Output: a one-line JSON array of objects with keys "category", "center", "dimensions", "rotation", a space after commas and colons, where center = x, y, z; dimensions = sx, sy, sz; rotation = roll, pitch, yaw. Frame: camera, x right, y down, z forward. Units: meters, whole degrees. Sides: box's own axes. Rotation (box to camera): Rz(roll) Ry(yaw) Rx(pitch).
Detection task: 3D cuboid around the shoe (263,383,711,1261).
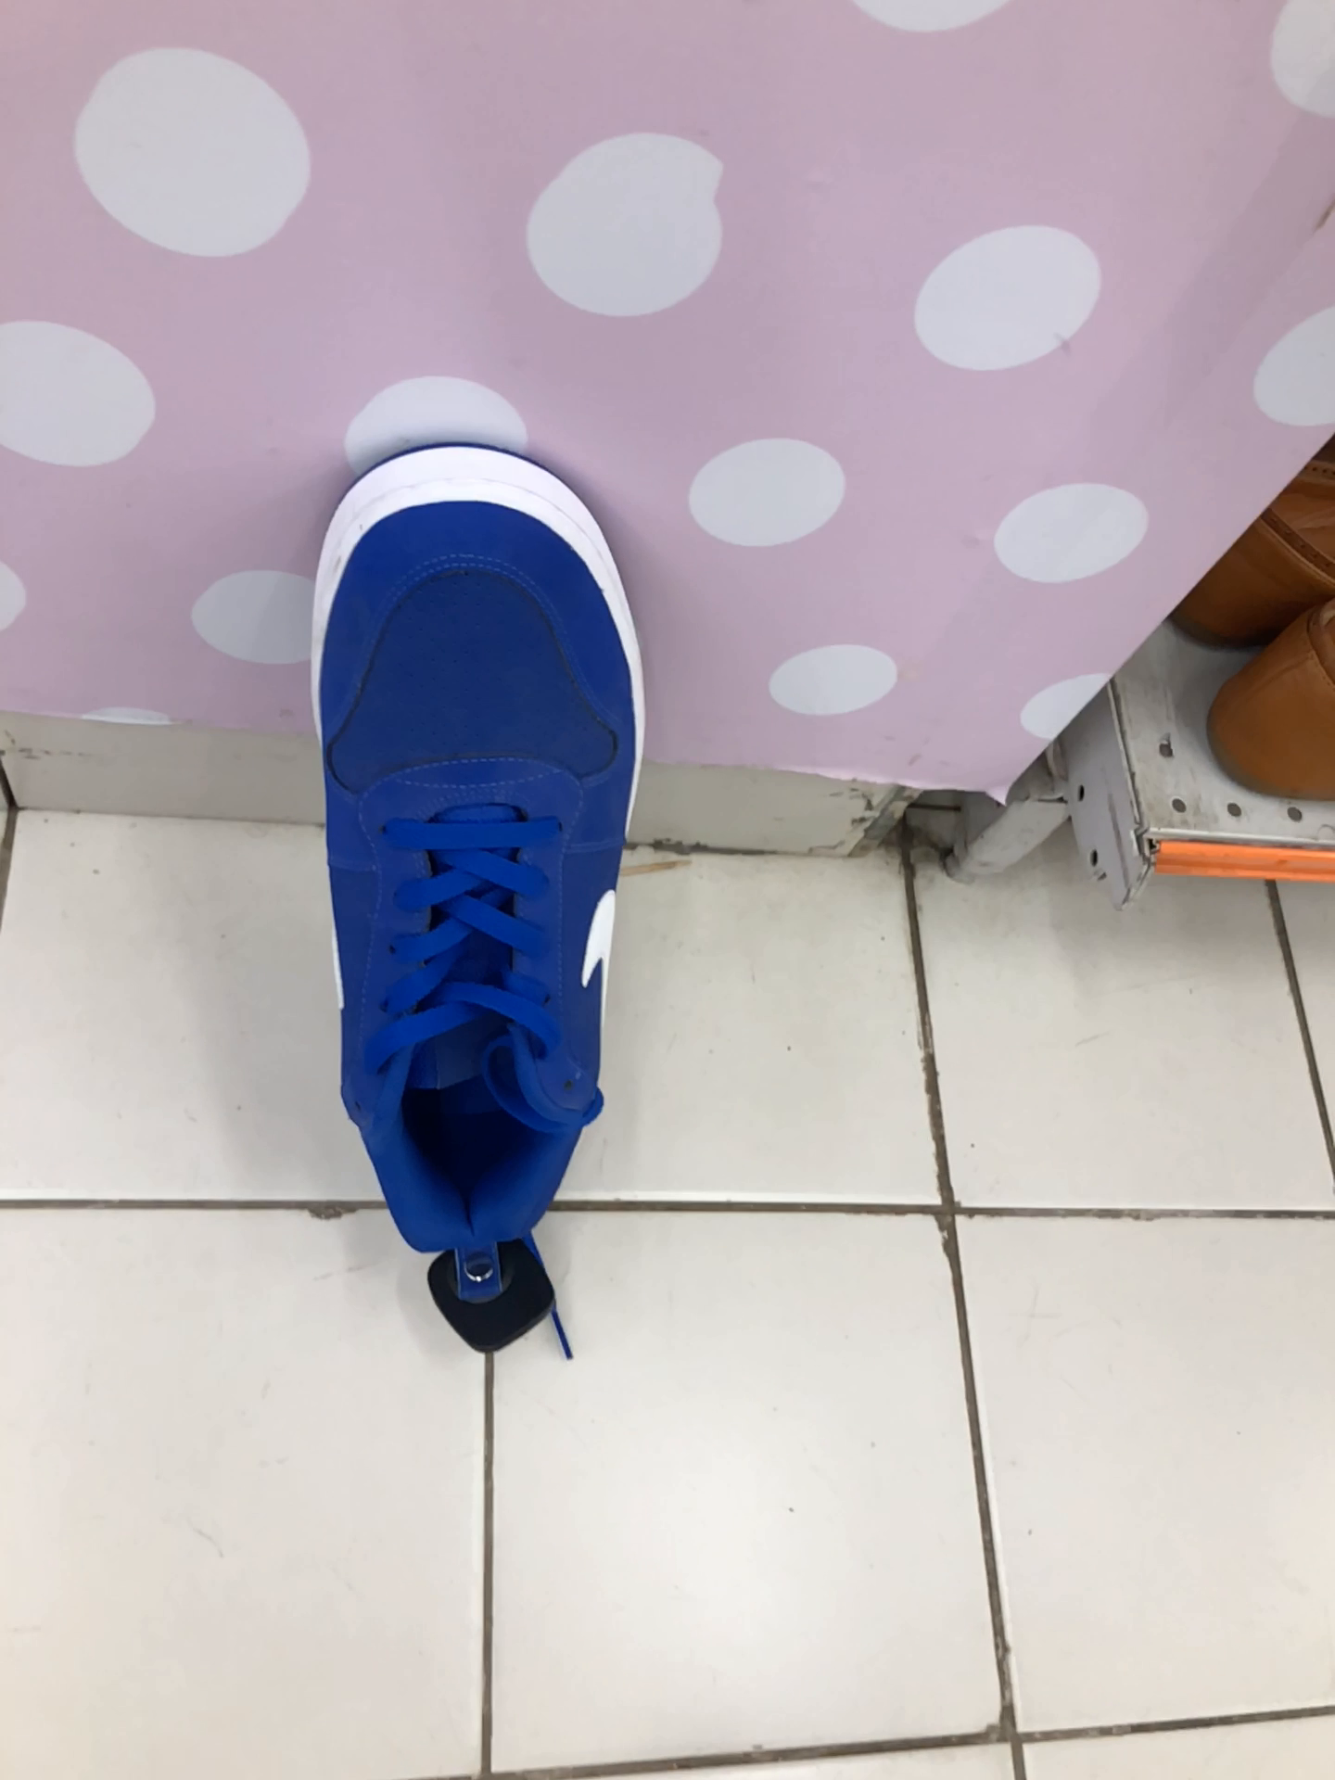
[{"category": "shoe", "center": [-0.063, -0.005, 0.483], "dimensions": [0.110, 0.289, 0.080], "rotation": [-1, 38, -10]}]
